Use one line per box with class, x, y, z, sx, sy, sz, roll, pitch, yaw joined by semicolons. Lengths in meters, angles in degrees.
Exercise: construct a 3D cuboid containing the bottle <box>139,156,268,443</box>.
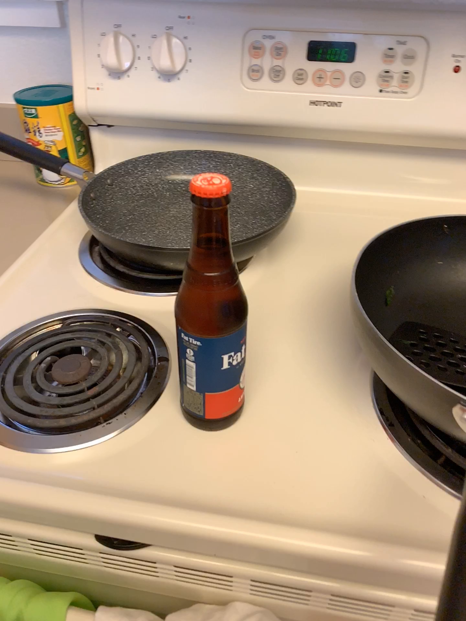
bottle;-0.018;0.002;0.373;0.060;0.219;0.060;0;38;0
